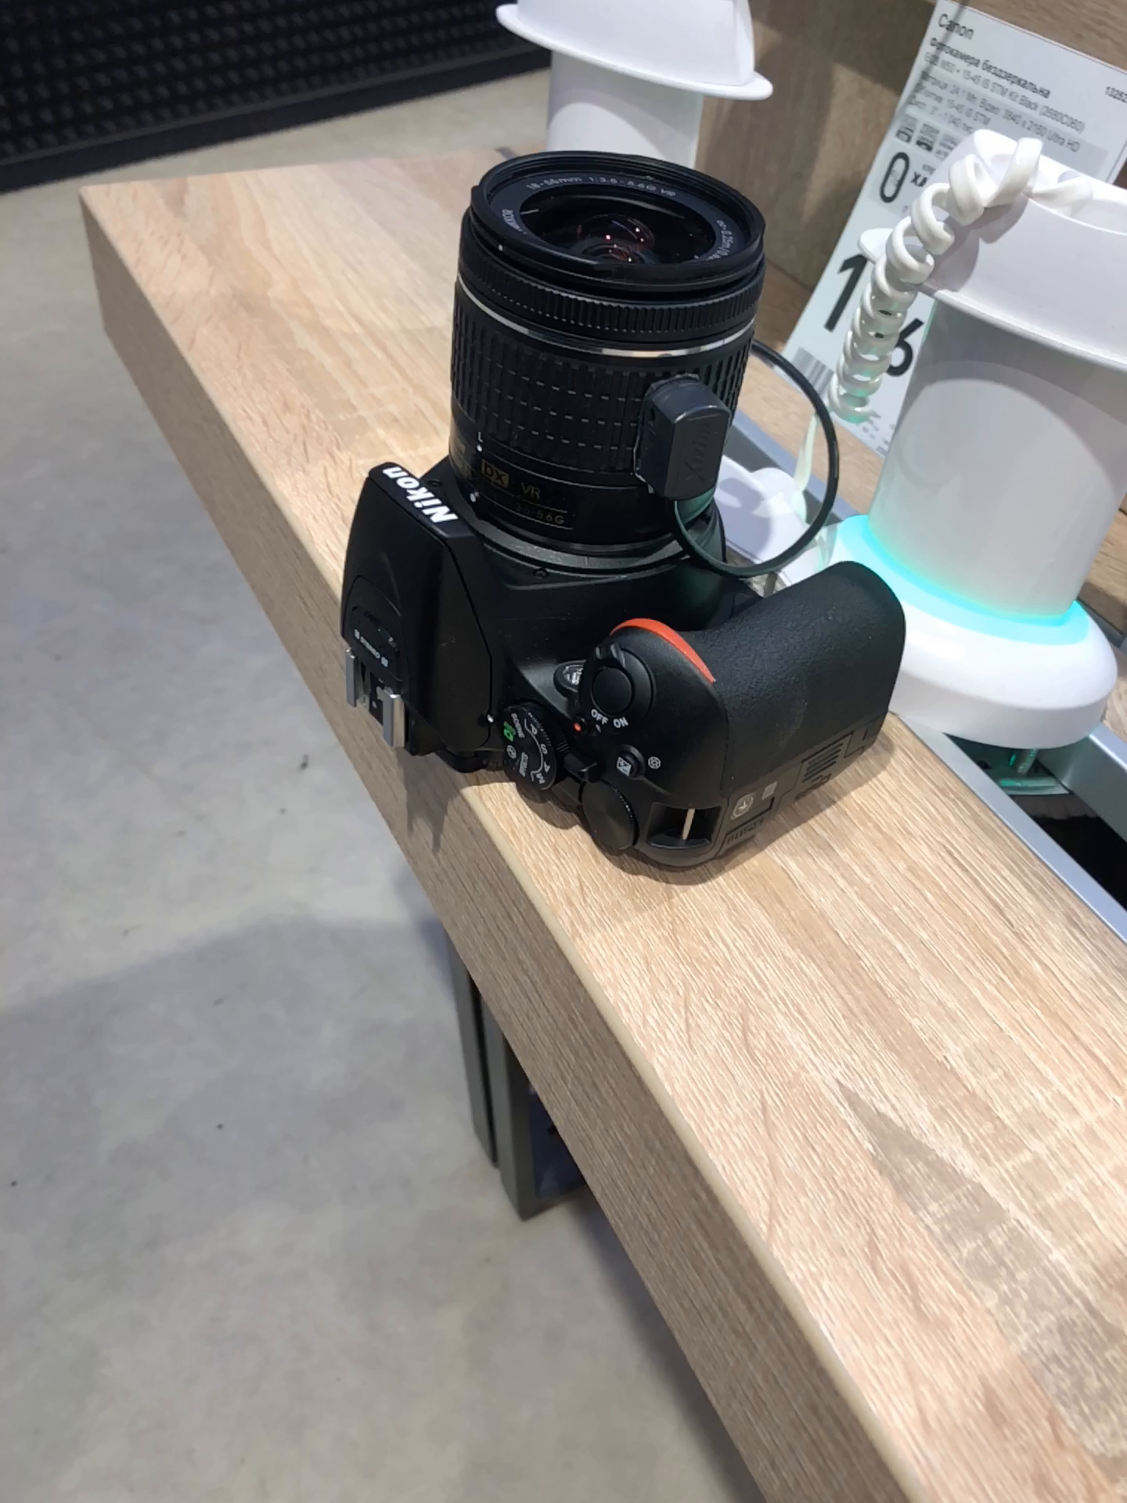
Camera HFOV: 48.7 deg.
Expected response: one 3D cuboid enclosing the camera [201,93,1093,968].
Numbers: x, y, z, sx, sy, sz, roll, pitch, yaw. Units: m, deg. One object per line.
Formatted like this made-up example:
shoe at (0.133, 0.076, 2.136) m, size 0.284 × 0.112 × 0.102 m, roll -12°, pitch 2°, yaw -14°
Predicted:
camera at (0.011, -0.058, 0.283) m, size 0.115 × 0.117 × 0.132 m, roll -29°, pitch 54°, yaw -31°
